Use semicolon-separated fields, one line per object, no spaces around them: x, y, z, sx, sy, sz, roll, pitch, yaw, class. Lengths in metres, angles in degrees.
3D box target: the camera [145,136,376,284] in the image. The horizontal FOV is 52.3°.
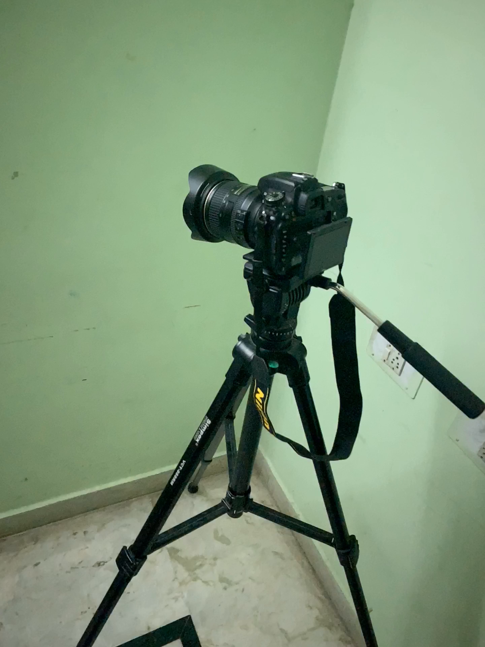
0.021;-0.174;0.696;0.267;0.127;0.161;20;34;31;camera
